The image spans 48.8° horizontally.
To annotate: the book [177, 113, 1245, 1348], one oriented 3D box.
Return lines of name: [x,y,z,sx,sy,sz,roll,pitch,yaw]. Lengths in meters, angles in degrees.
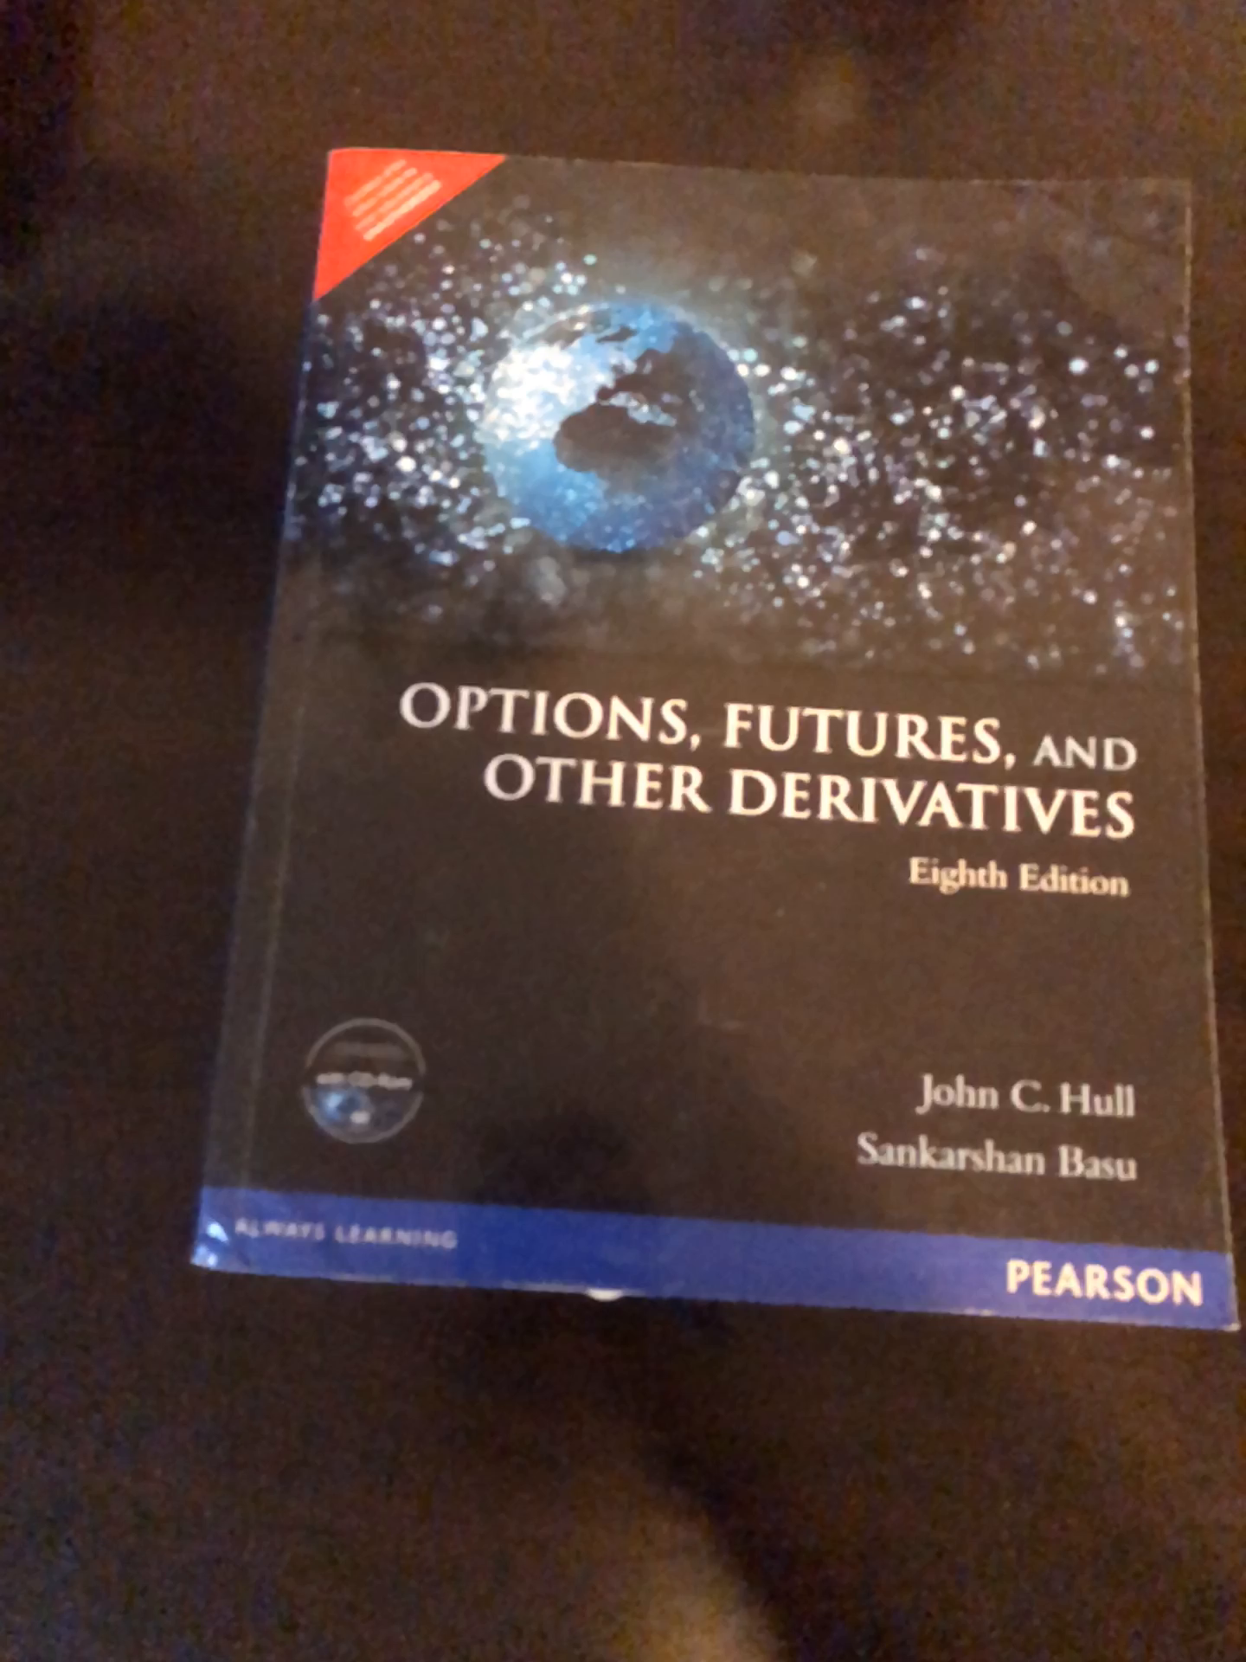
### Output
book: [0.025,-0.028,0.316,0.207,0.050,0.261,4,77,-1]
